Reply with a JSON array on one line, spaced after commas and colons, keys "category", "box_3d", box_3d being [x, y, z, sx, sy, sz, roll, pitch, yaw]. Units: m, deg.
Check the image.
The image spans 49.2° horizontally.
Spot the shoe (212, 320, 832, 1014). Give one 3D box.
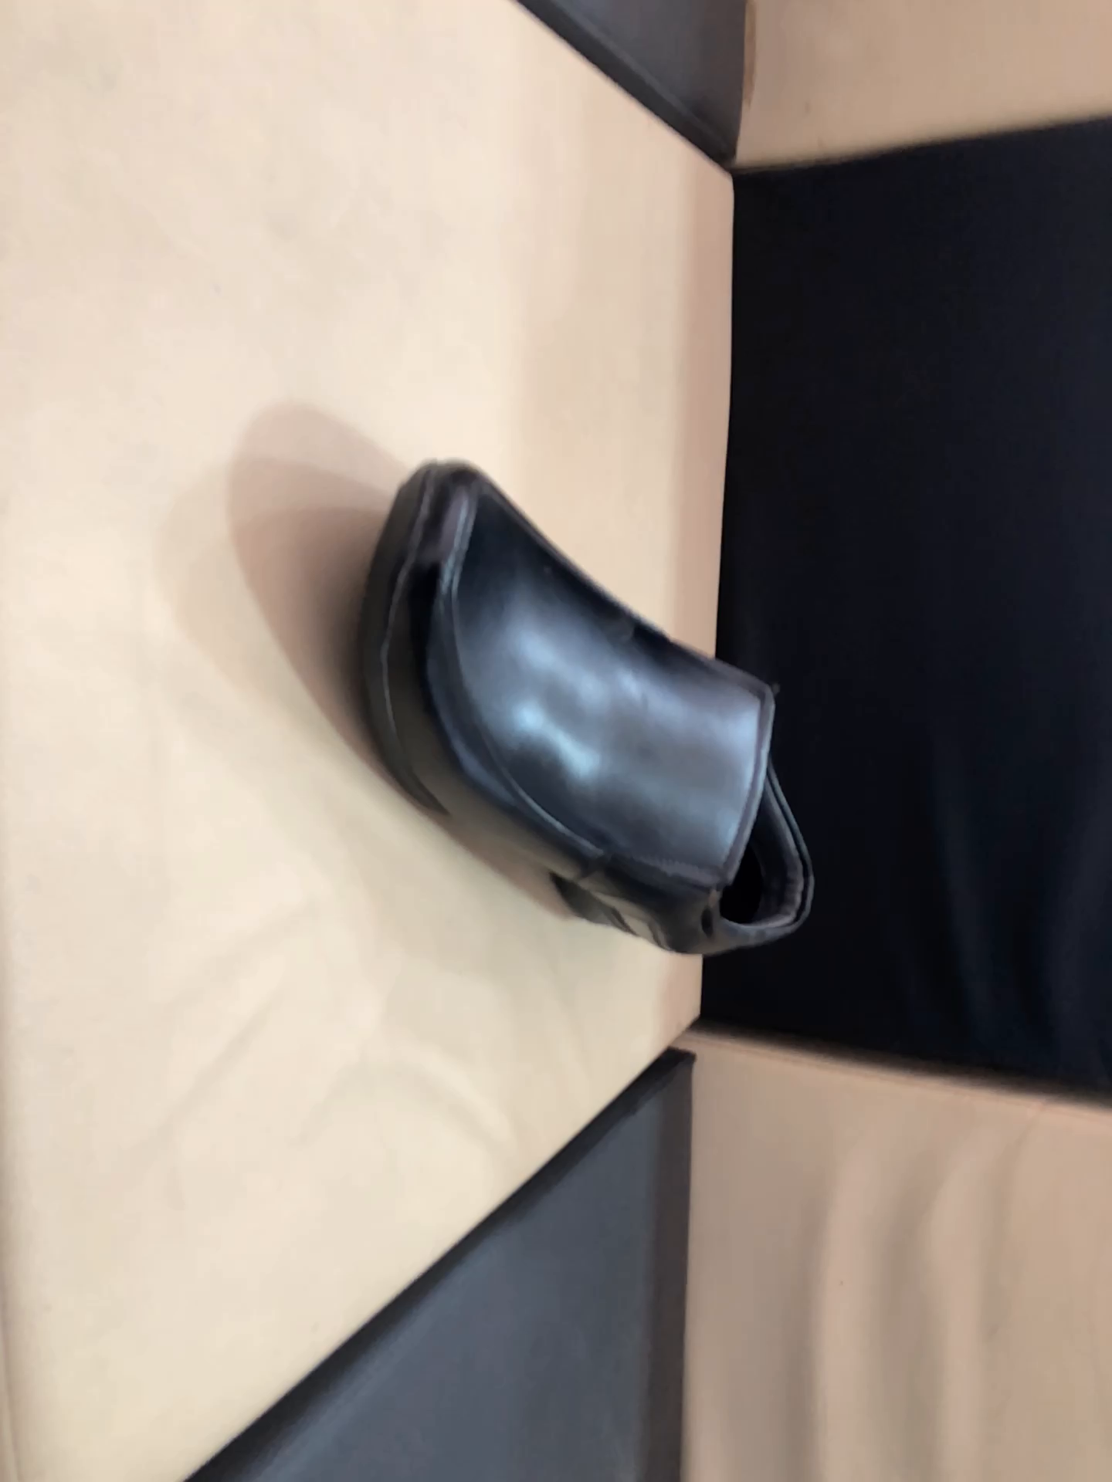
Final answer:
[{"category": "shoe", "box_3d": [0.019, -0.001, 0.470, 0.322, 0.099, 0.100, 54, 49, -53]}]
